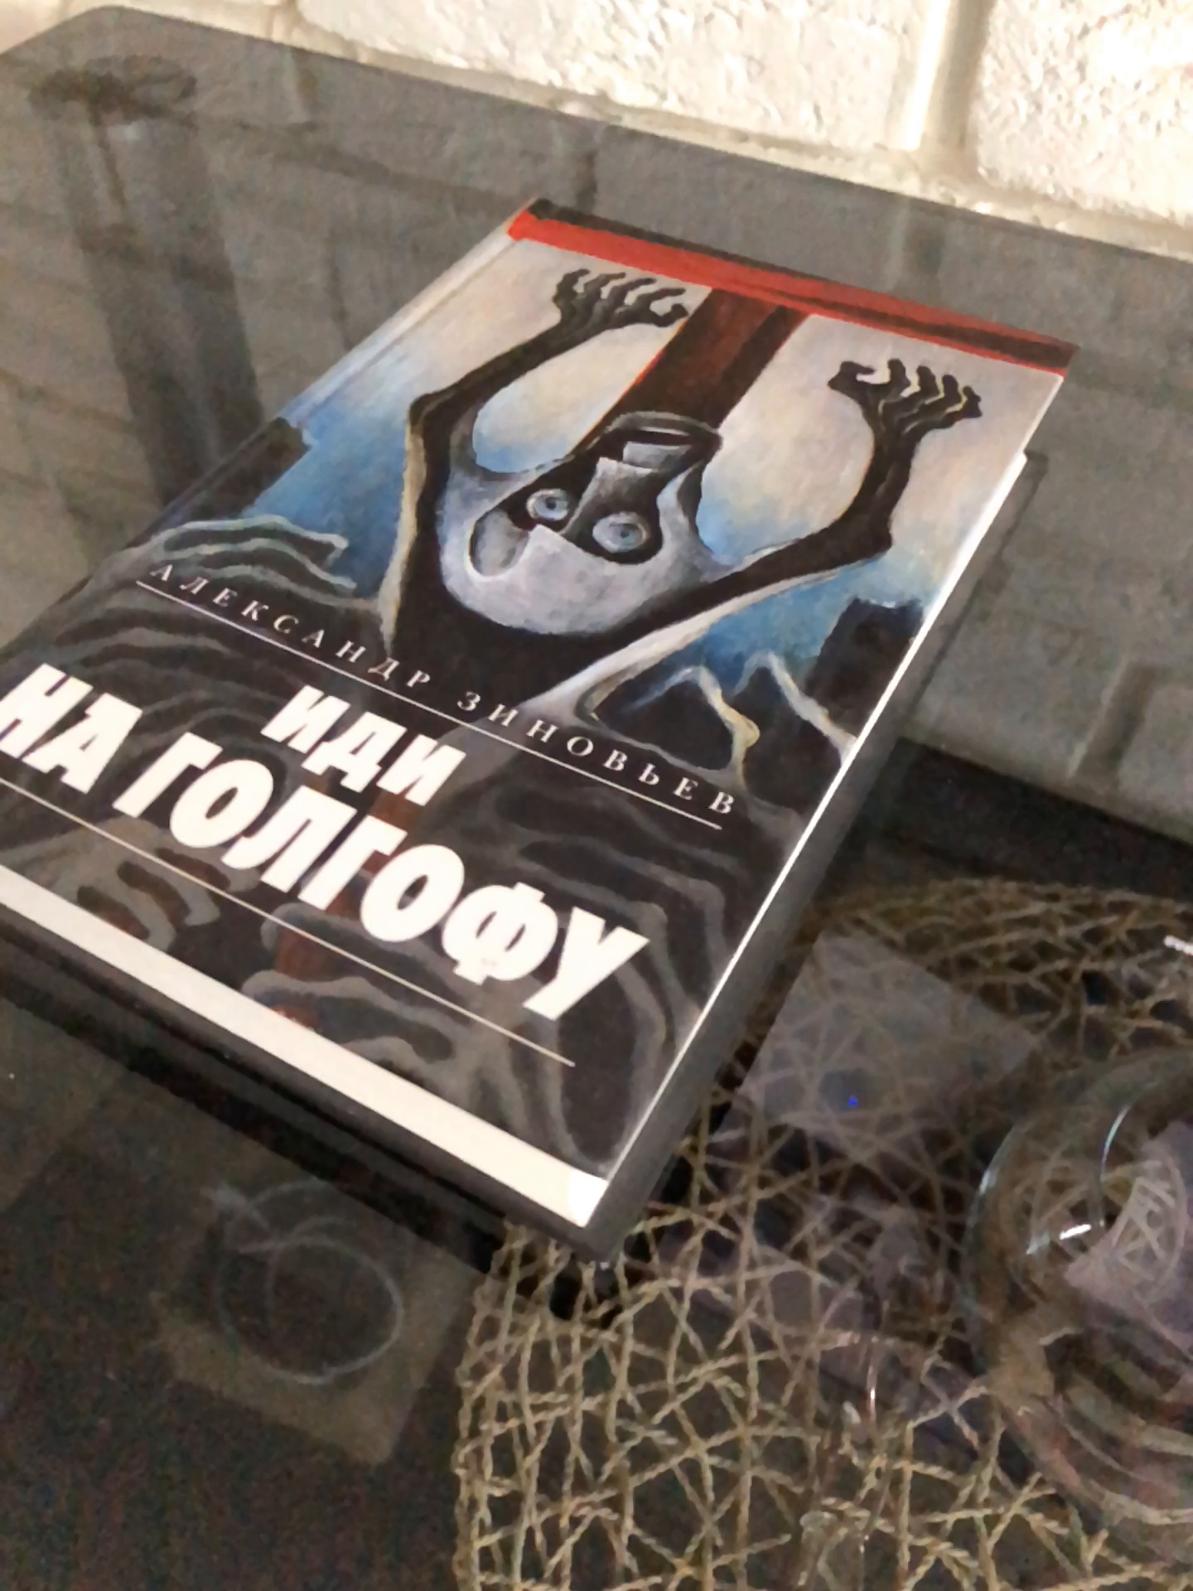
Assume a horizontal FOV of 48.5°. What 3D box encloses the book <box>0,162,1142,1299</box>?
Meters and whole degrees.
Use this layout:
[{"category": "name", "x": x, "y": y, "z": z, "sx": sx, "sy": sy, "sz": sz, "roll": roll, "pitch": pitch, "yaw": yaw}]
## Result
[{"category": "book", "x": -0.006, "y": -0.041, "z": 0.231, "sx": 0.140, "sy": 0.030, "sz": 0.201, "roll": 24, "pitch": 53, "yaw": 19}]
